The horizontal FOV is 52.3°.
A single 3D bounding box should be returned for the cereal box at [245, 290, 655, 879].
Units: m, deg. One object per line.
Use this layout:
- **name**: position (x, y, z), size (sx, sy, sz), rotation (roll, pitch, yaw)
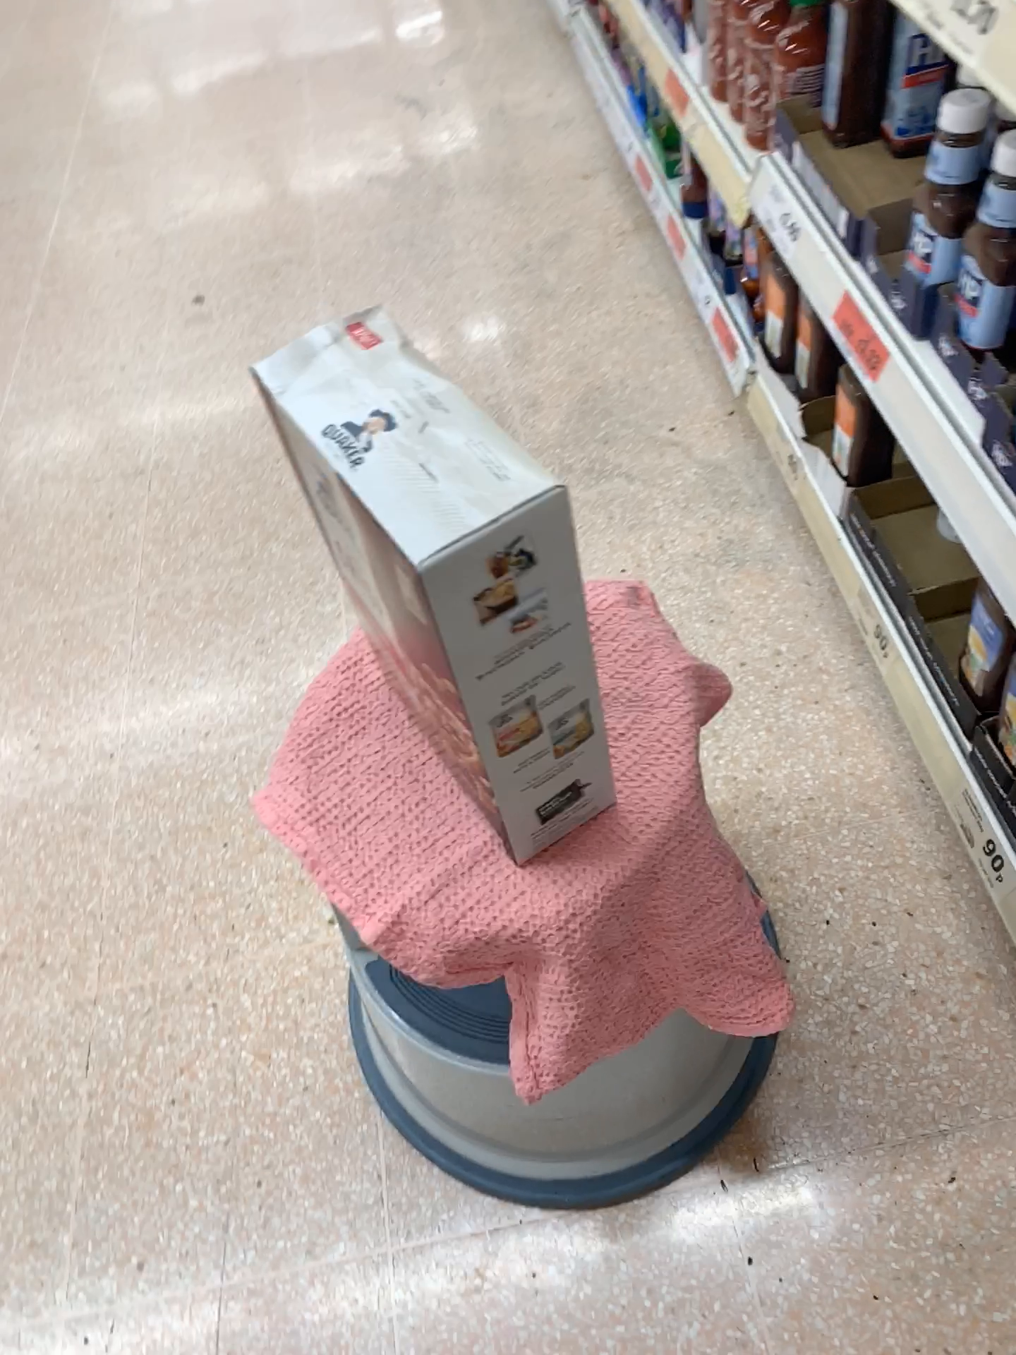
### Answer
- **cereal box**: position (-0.022, -0.042, 0.582), size (0.090, 0.268, 0.192), rotation (-31, 52, -11)
